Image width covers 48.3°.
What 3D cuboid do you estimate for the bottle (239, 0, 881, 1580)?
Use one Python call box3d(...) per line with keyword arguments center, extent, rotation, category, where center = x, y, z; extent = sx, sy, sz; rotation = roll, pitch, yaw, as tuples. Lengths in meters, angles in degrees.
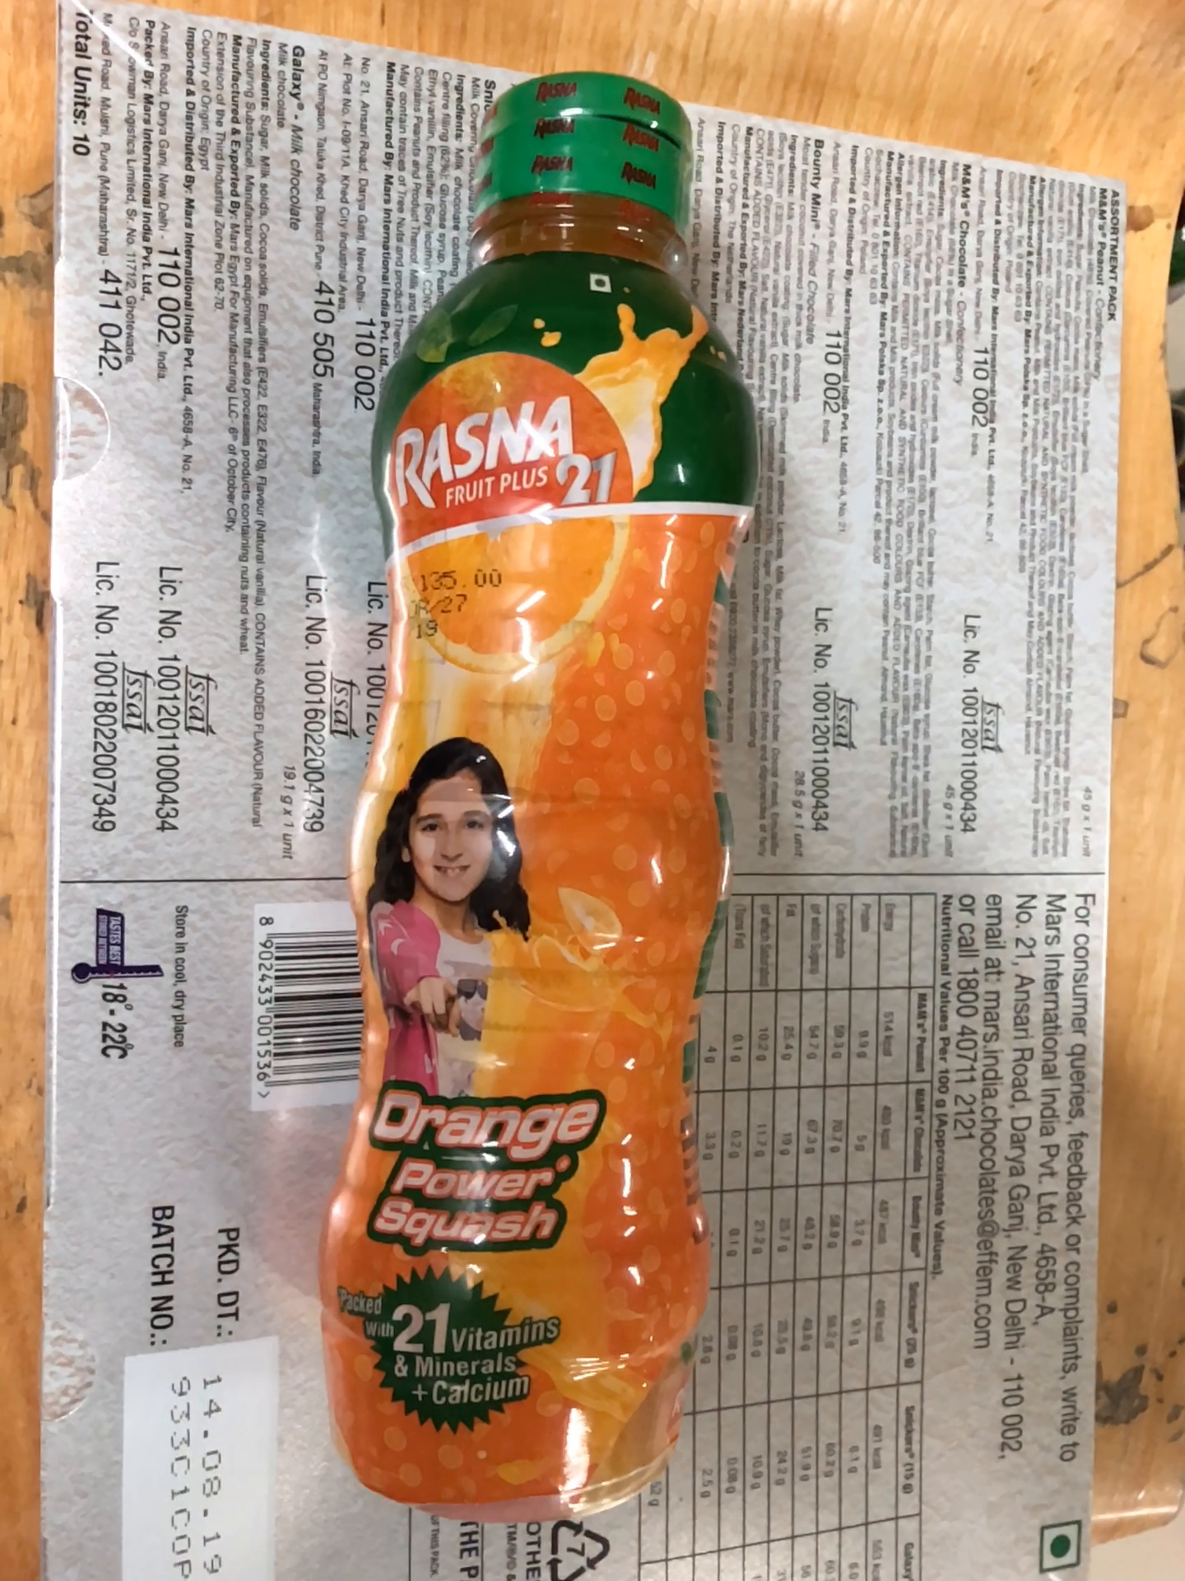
box3d(center=(-0.004, -0.009, 0.239), extent=(0.080, 0.070, 0.250), rotation=(0, 93, -53), category="bottle")
